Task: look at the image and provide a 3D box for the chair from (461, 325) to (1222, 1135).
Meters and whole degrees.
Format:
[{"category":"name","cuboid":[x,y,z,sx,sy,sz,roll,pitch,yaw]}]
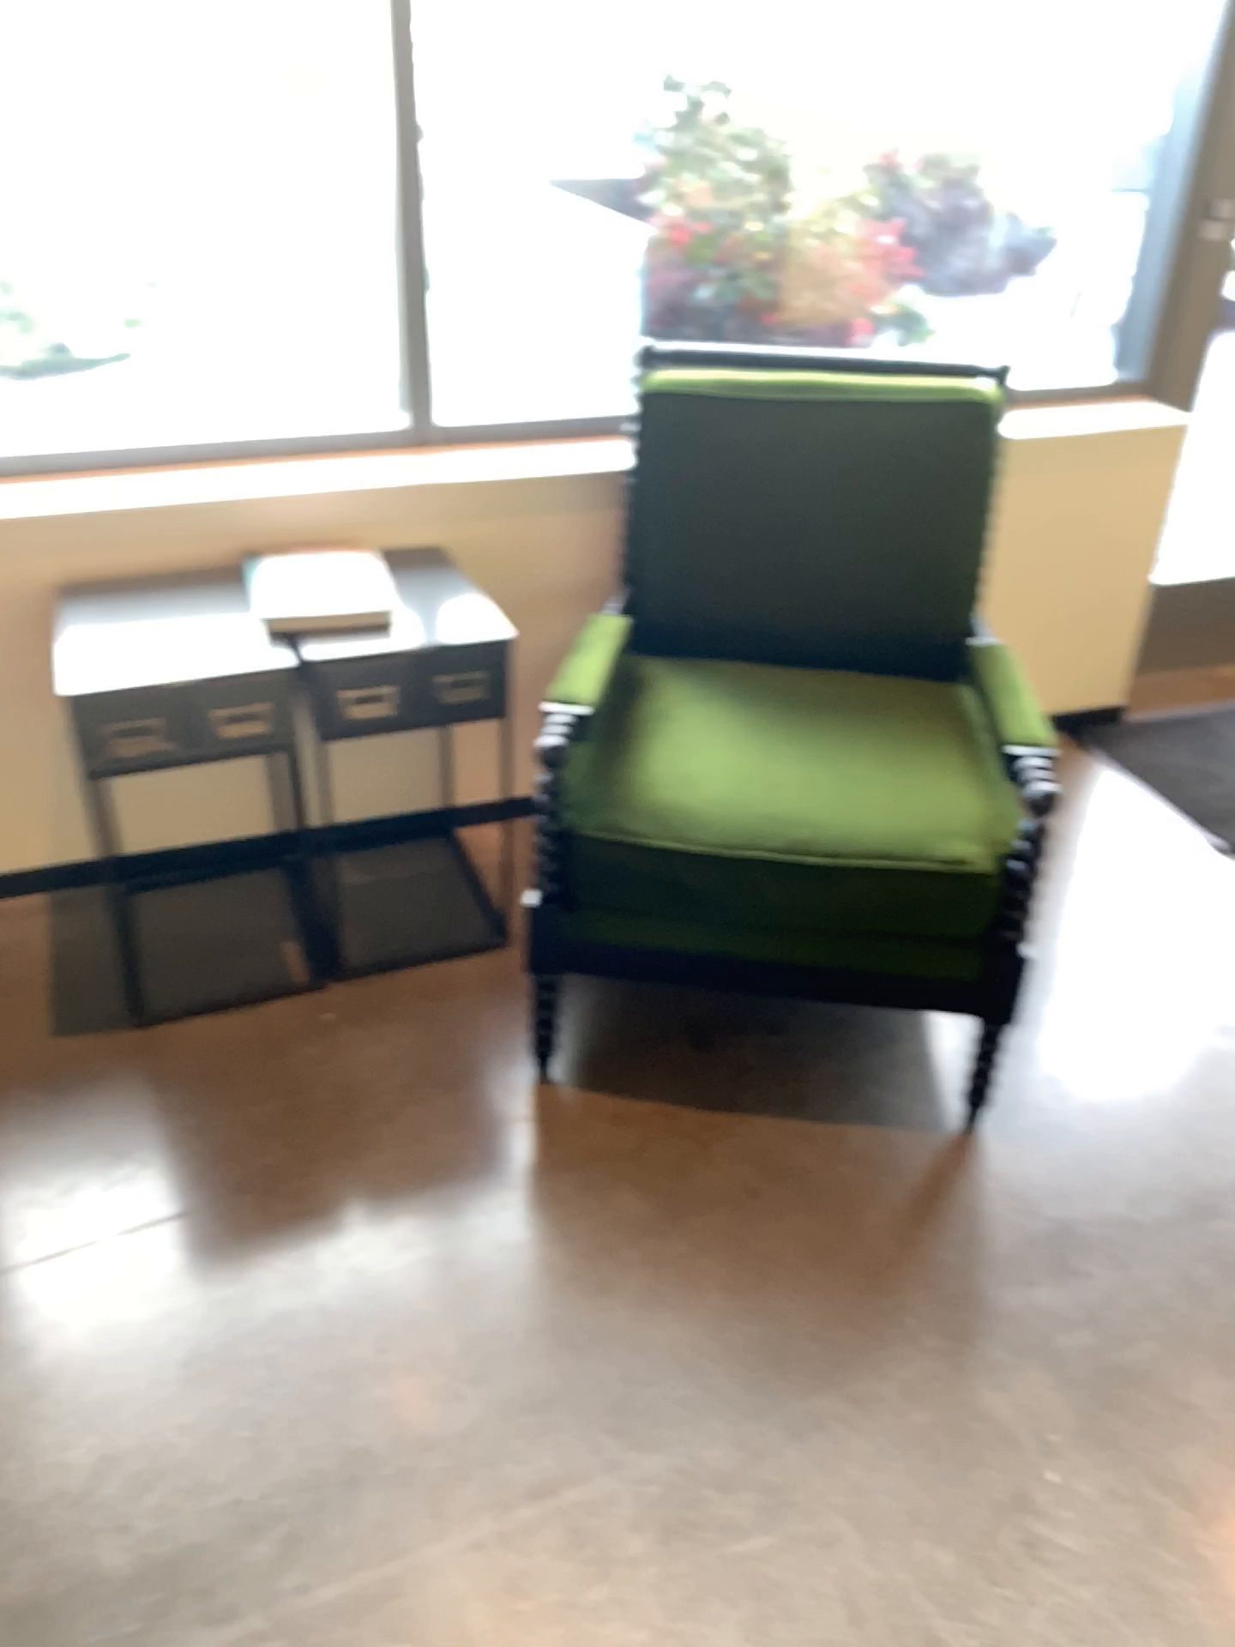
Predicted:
[{"category":"chair","cuboid":[0.298,-0.218,2.122,0.870,0.924,0.946,6,32,6]}]
